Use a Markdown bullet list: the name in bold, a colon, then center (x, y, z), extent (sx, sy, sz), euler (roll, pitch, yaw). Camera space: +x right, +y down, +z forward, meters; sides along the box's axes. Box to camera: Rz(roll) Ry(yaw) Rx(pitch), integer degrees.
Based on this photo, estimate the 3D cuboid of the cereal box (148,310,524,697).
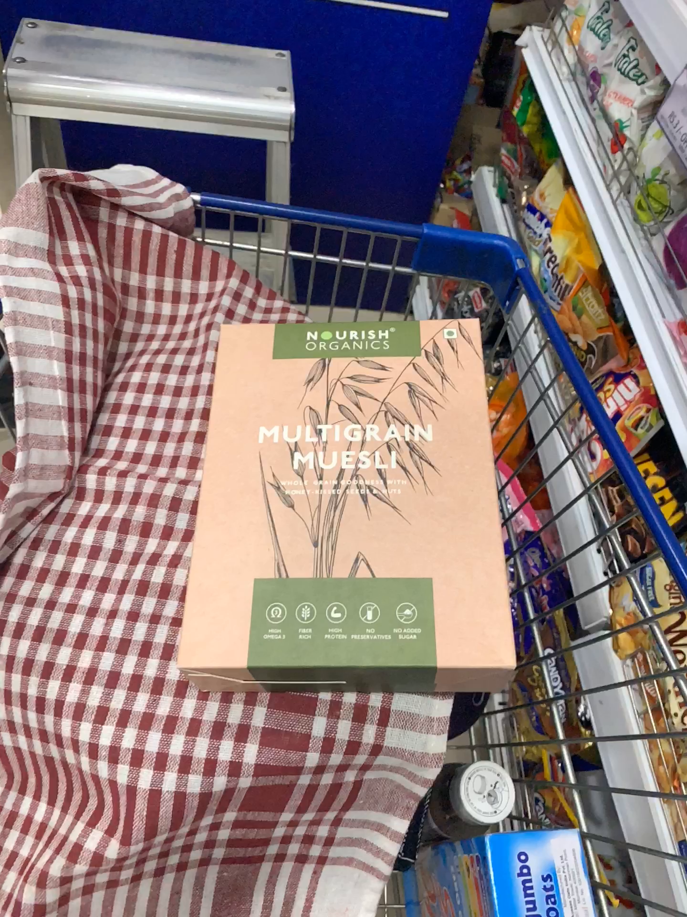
- **cereal box**: center (-0.002, 0.016, 0.370), extent (0.160, 0.050, 0.200), euler (0, 60, 2)
